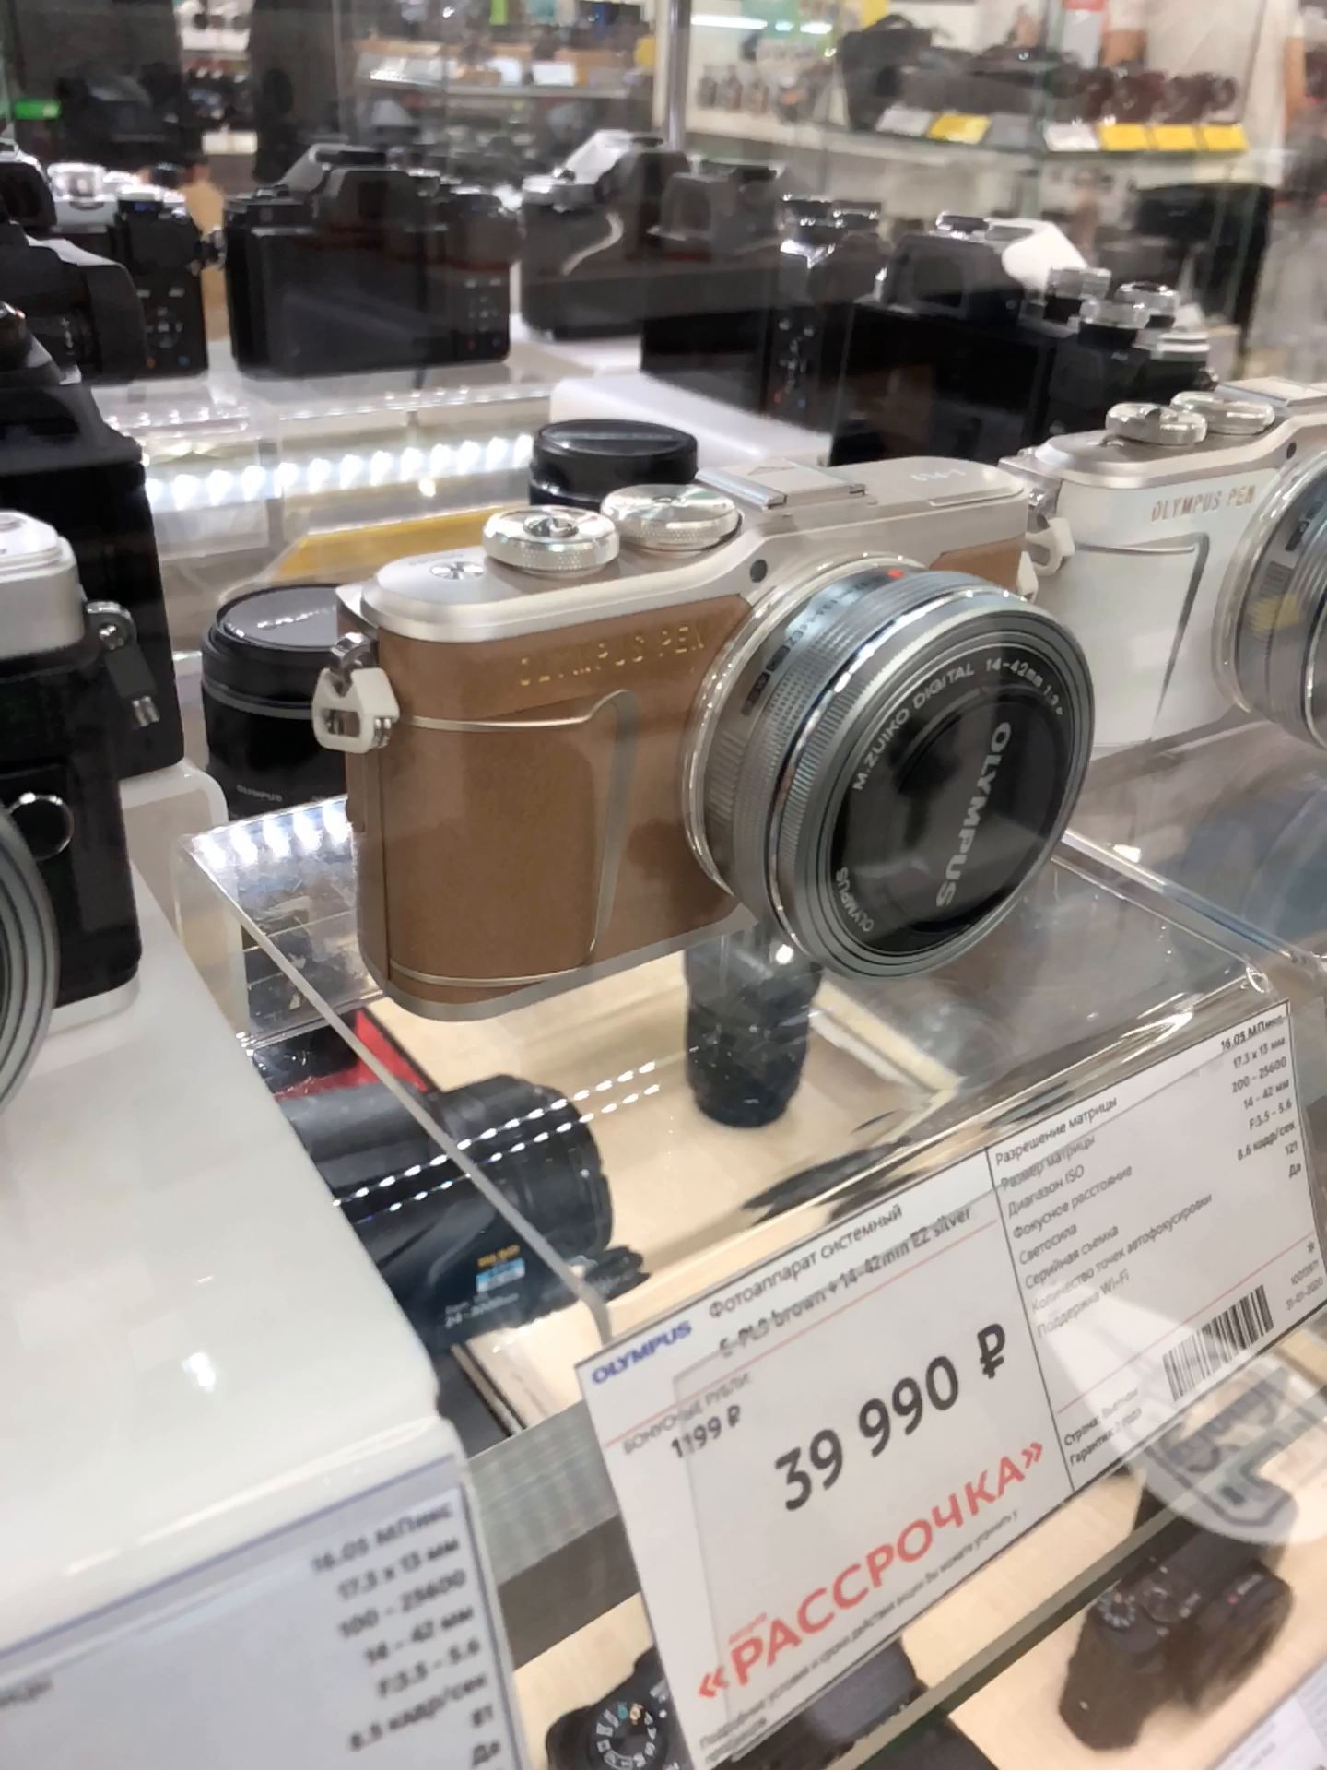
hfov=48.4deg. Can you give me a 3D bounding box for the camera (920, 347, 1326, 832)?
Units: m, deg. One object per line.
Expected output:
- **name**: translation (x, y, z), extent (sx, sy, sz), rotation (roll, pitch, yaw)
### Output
- **camera**: translation (0.118, -0.064, 0.286), extent (0.122, 0.060, 0.060), rotation (-18, 36, -33)

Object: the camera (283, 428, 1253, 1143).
- **camera**: translation (0.017, -0.024, 0.215), extent (0.122, 0.060, 0.060), rotation (-18, 36, -33)
